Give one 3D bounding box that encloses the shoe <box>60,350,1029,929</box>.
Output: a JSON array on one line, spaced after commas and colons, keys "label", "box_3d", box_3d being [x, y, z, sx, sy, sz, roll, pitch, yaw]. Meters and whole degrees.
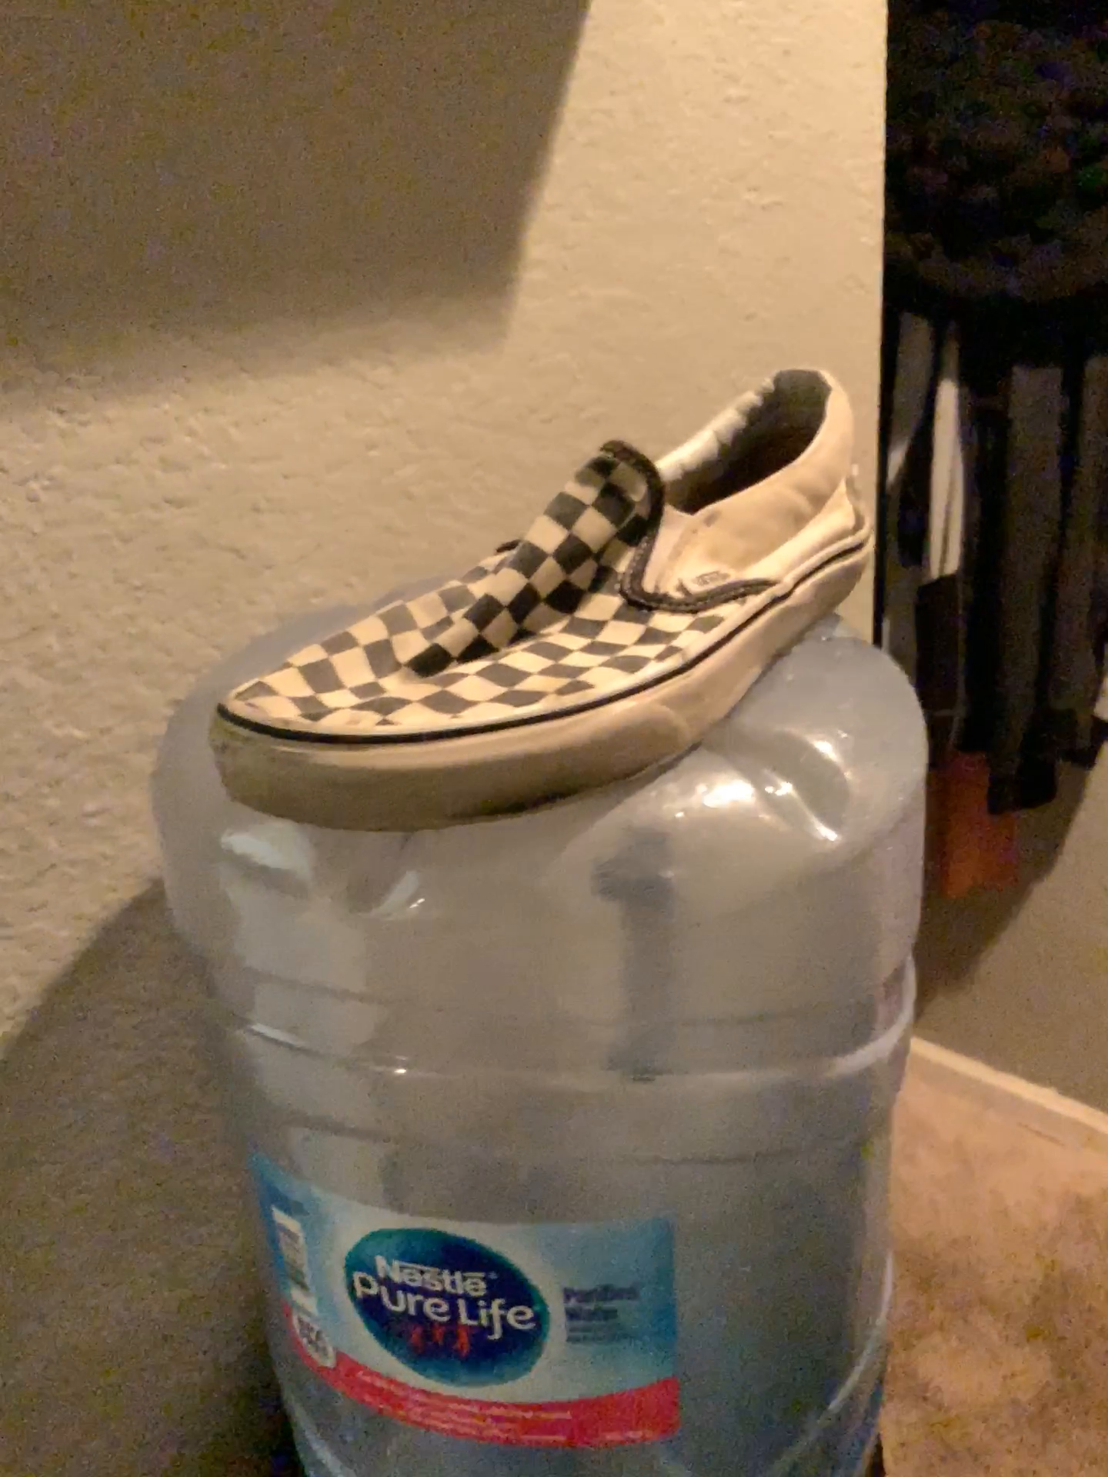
[{"label": "shoe", "box_3d": [0.017, -0.057, 0.390, 0.280, 0.080, 0.130, -25, 31, -38]}]
